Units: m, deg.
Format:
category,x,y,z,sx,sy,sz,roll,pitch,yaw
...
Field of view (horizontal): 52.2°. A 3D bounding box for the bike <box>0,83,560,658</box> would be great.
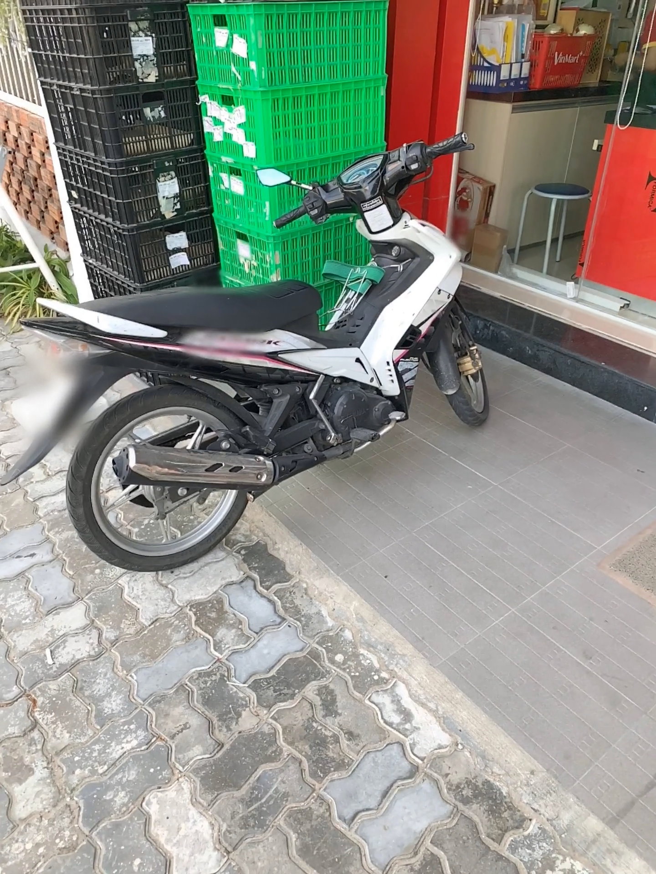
category,x,y,z,sx,sy,sz,roll,pitch,yaw
bike,-0.089,-0.406,2.260,1.818,1.186,0.669,-29,42,-35
